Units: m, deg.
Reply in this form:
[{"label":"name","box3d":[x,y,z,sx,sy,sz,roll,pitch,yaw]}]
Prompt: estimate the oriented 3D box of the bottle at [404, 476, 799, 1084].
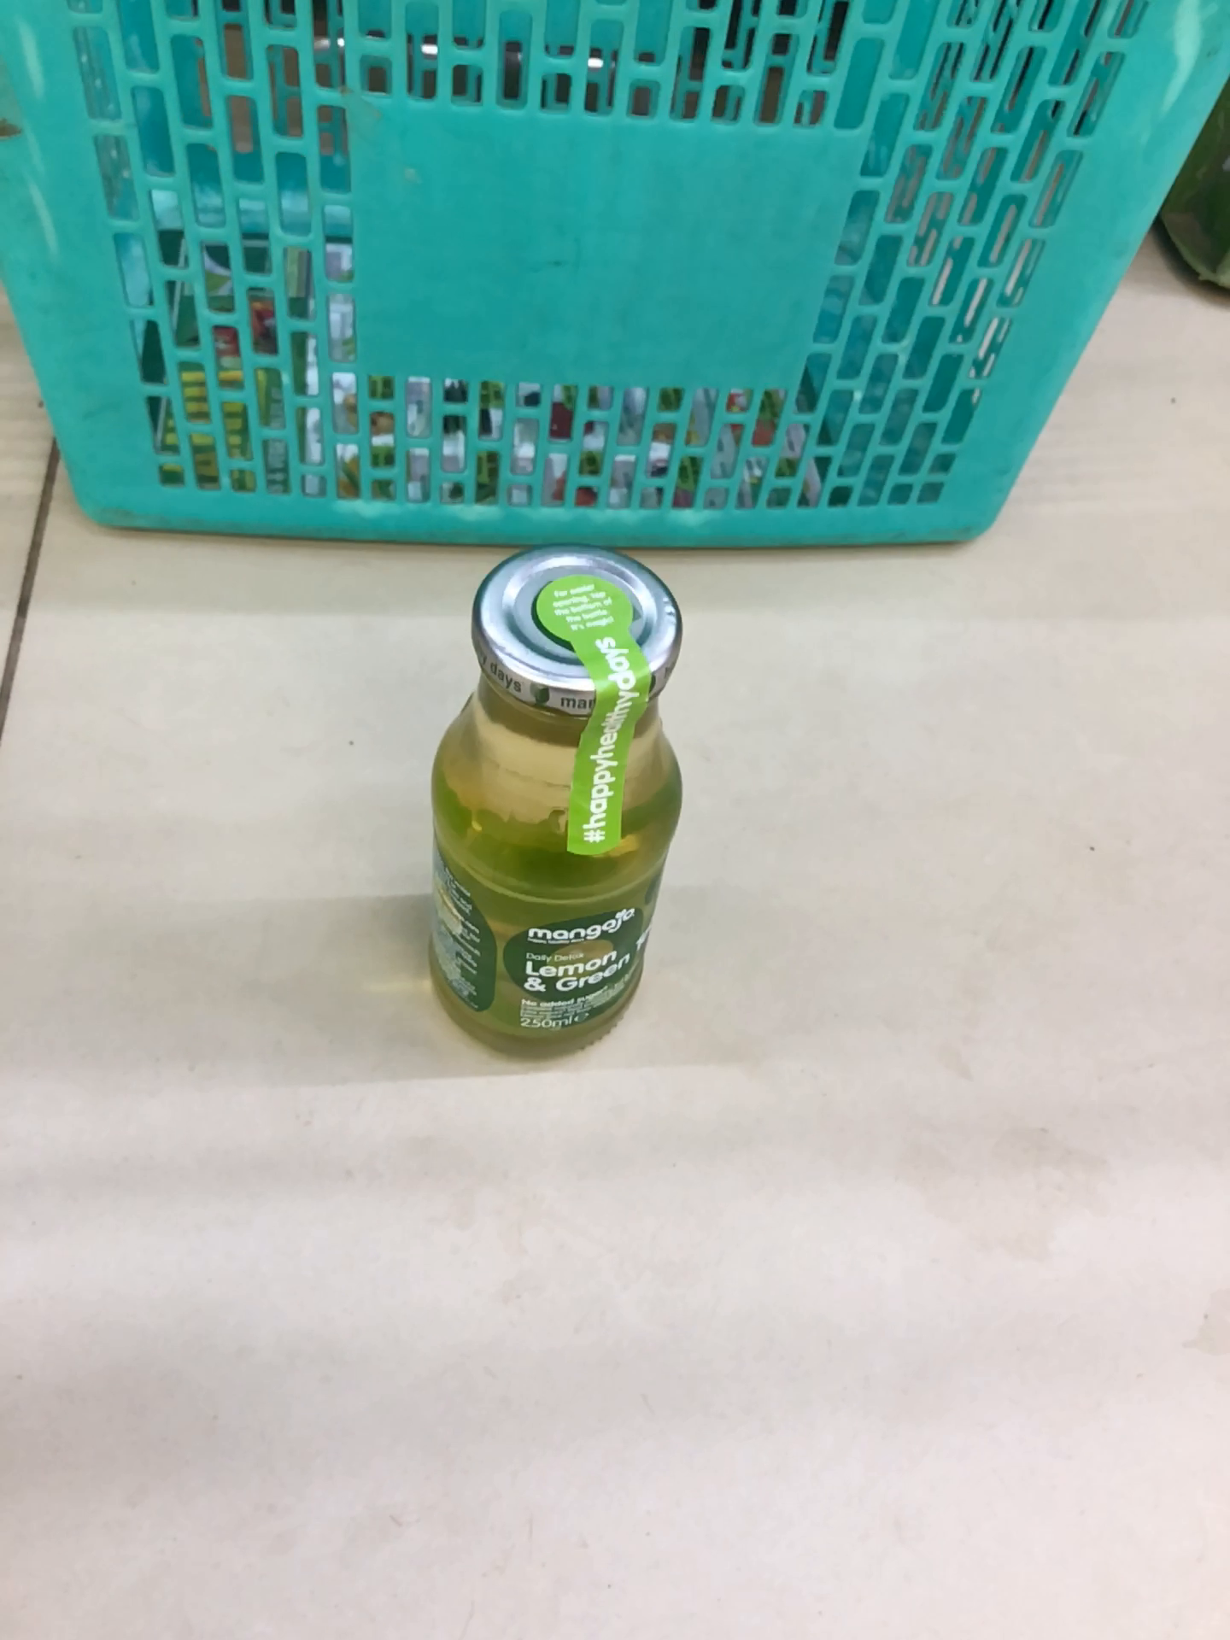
[{"label":"bottle","box3d":[-0.013,-0.004,0.352,0.070,0.149,0.070,4,52,-5]}]
